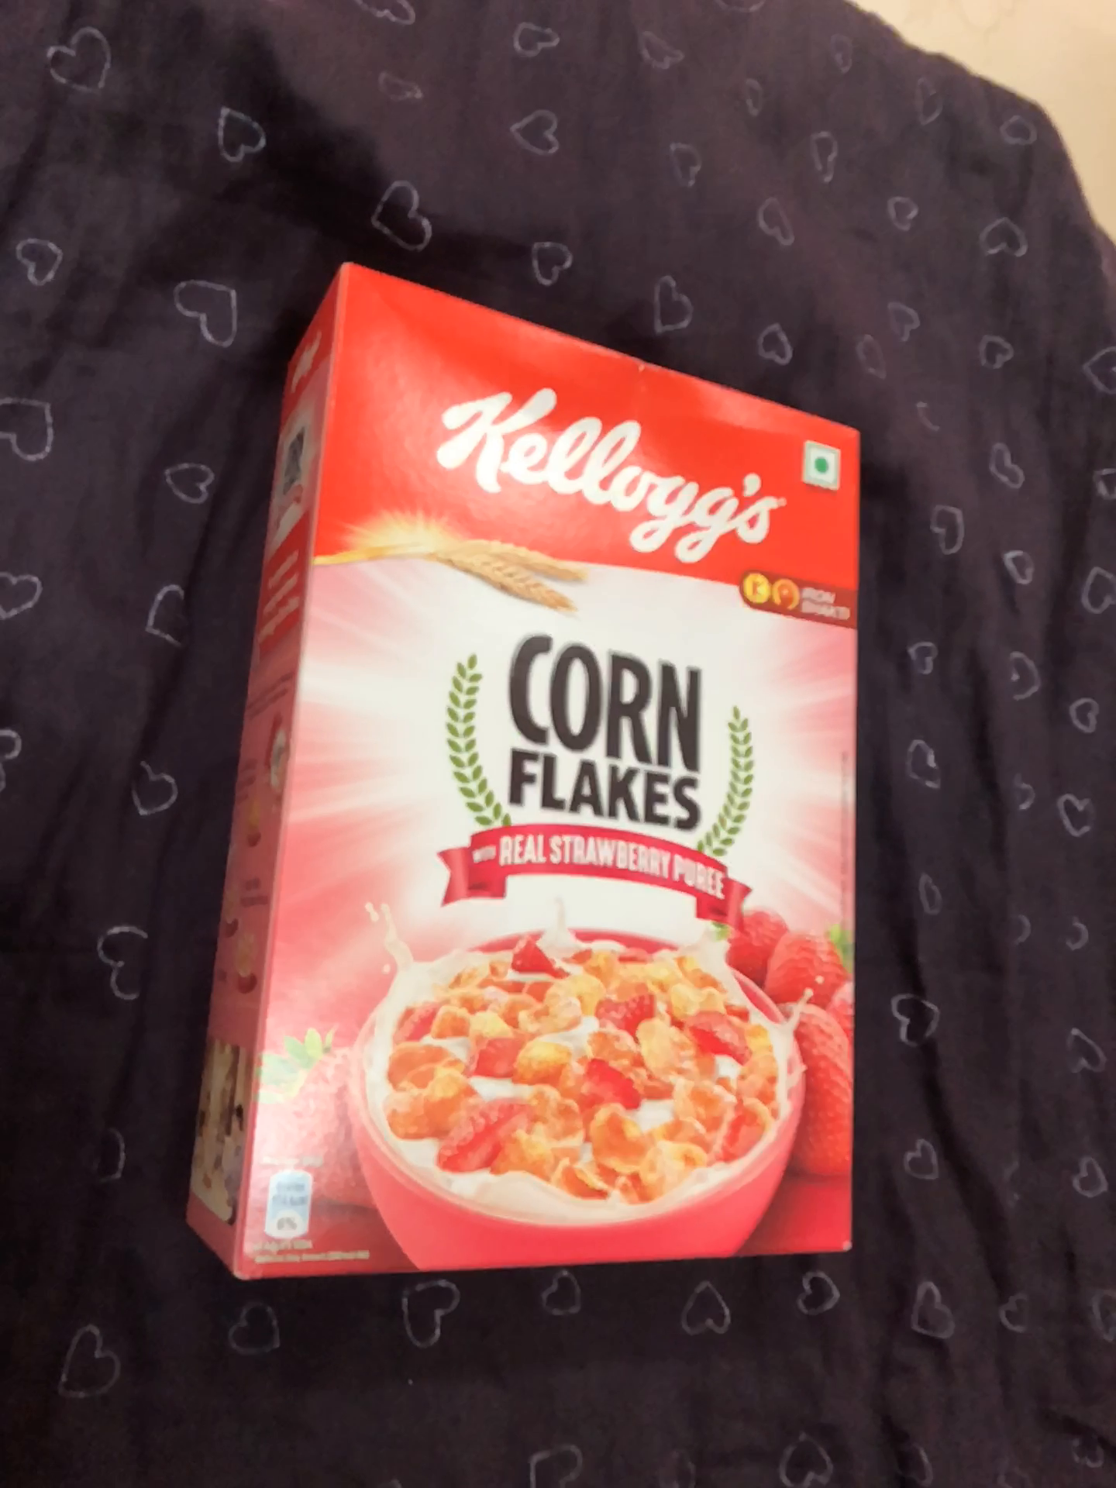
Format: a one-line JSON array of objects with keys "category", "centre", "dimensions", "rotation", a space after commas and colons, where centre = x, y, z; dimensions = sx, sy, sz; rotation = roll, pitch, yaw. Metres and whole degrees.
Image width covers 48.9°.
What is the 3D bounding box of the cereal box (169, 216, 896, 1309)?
[{"category": "cereal box", "centre": [0.004, 0.011, 0.371], "dimensions": [0.190, 0.070, 0.270], "rotation": [9, 77, -26]}]
